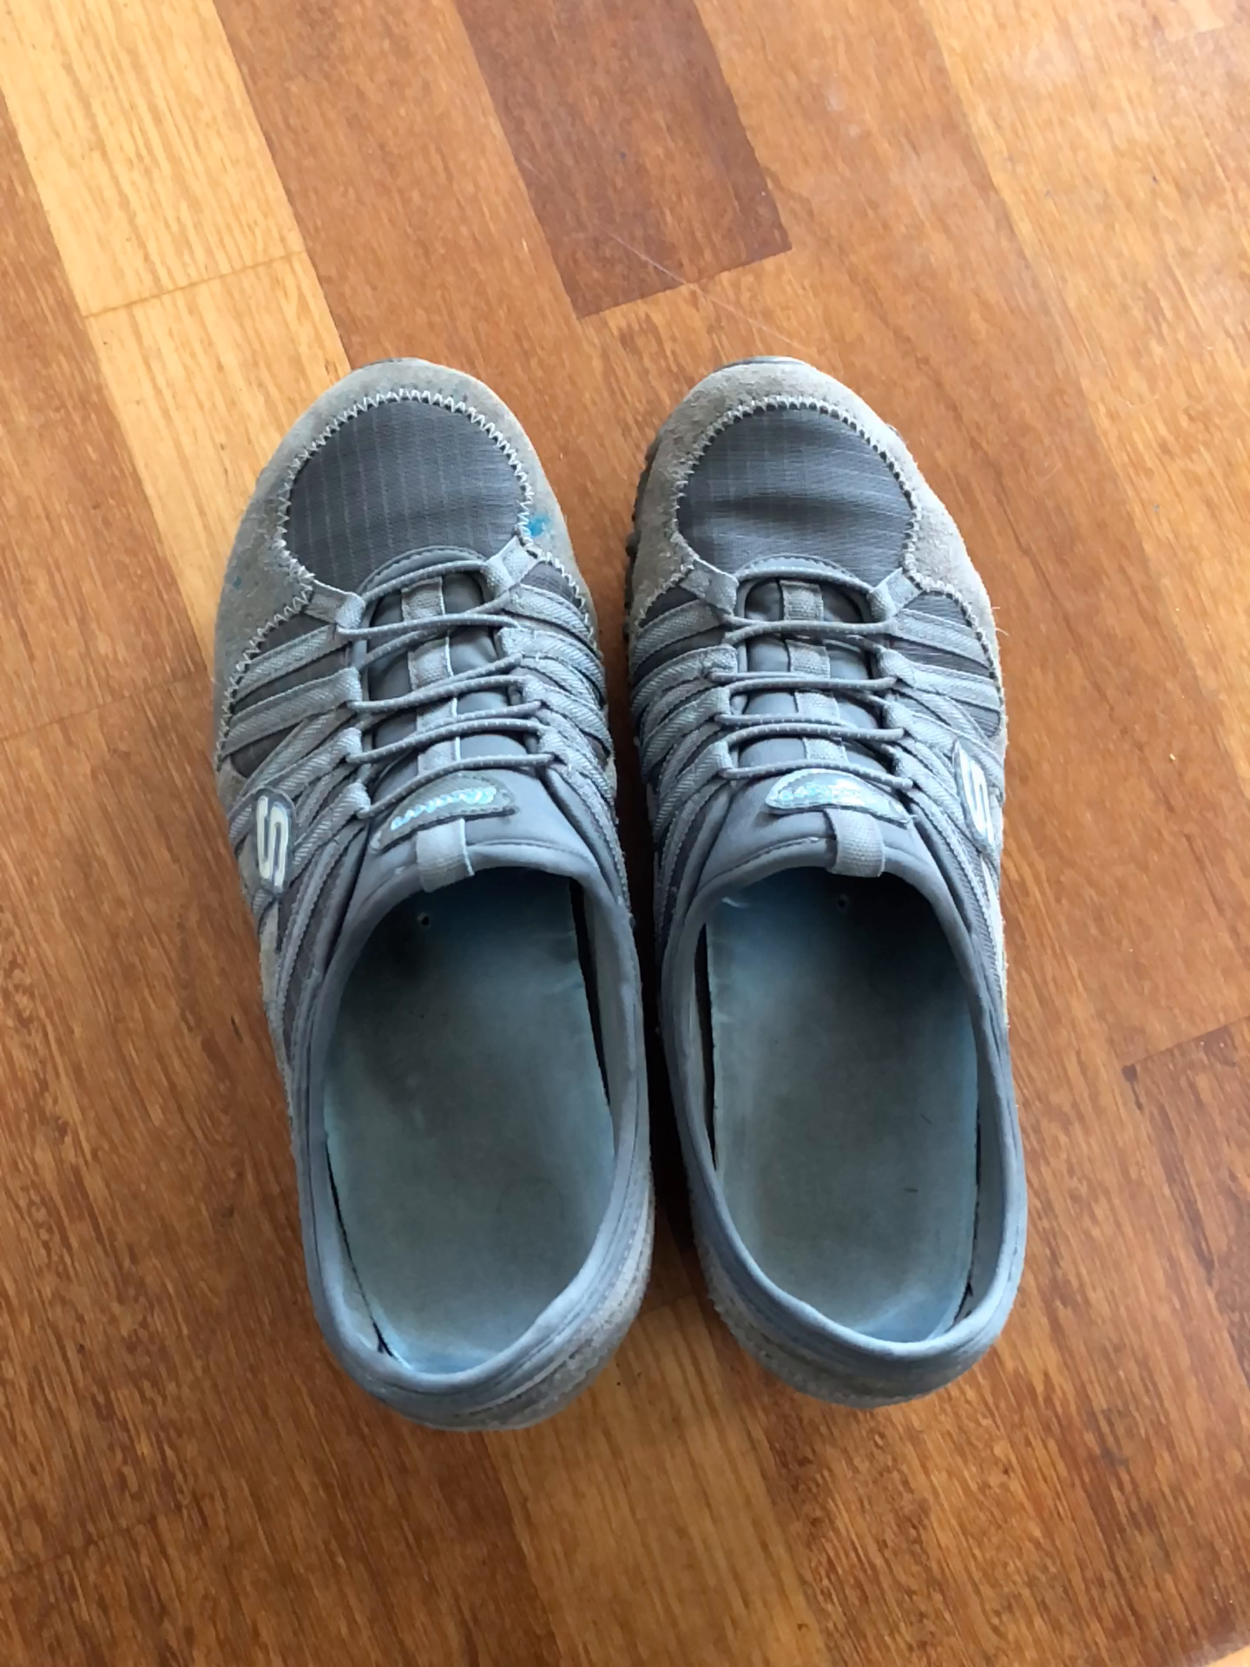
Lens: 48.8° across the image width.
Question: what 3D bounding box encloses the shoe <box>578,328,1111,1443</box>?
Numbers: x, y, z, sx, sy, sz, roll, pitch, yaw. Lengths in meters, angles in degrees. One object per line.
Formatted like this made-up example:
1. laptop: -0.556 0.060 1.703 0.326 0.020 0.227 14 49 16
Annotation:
1. shoe: 0.047 0.011 0.369 0.093 0.106 0.249 -5 85 -5

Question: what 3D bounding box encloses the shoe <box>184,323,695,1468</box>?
1. shoe: -0.048 0.013 0.366 0.096 0.106 0.253 -5 85 -5
